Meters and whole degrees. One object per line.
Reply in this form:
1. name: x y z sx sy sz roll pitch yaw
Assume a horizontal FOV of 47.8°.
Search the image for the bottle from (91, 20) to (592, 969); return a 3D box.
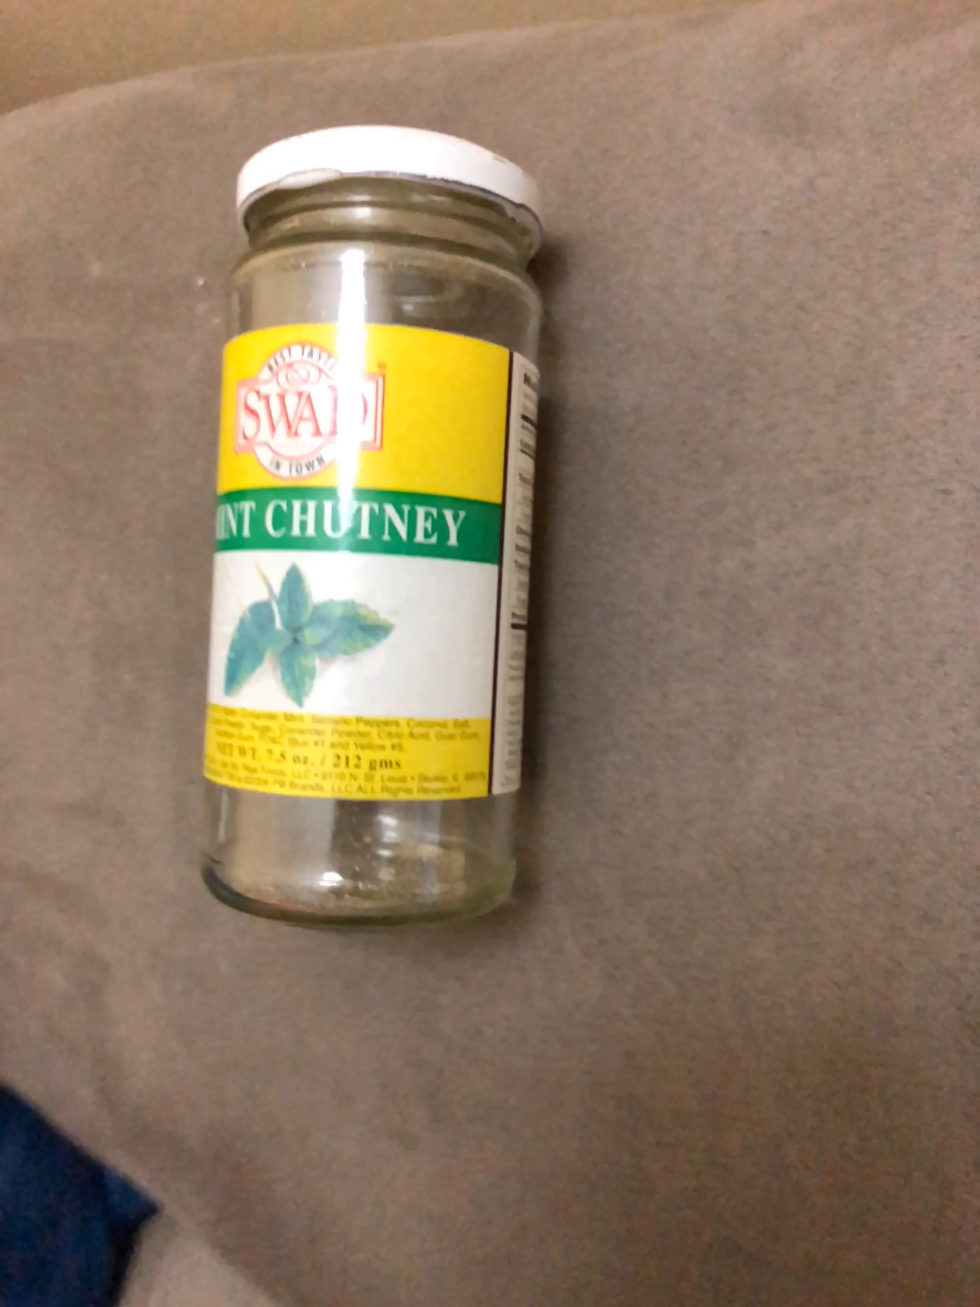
1. bottle: -0.024 -0.023 0.200 0.060 0.059 0.137 3 91 29
